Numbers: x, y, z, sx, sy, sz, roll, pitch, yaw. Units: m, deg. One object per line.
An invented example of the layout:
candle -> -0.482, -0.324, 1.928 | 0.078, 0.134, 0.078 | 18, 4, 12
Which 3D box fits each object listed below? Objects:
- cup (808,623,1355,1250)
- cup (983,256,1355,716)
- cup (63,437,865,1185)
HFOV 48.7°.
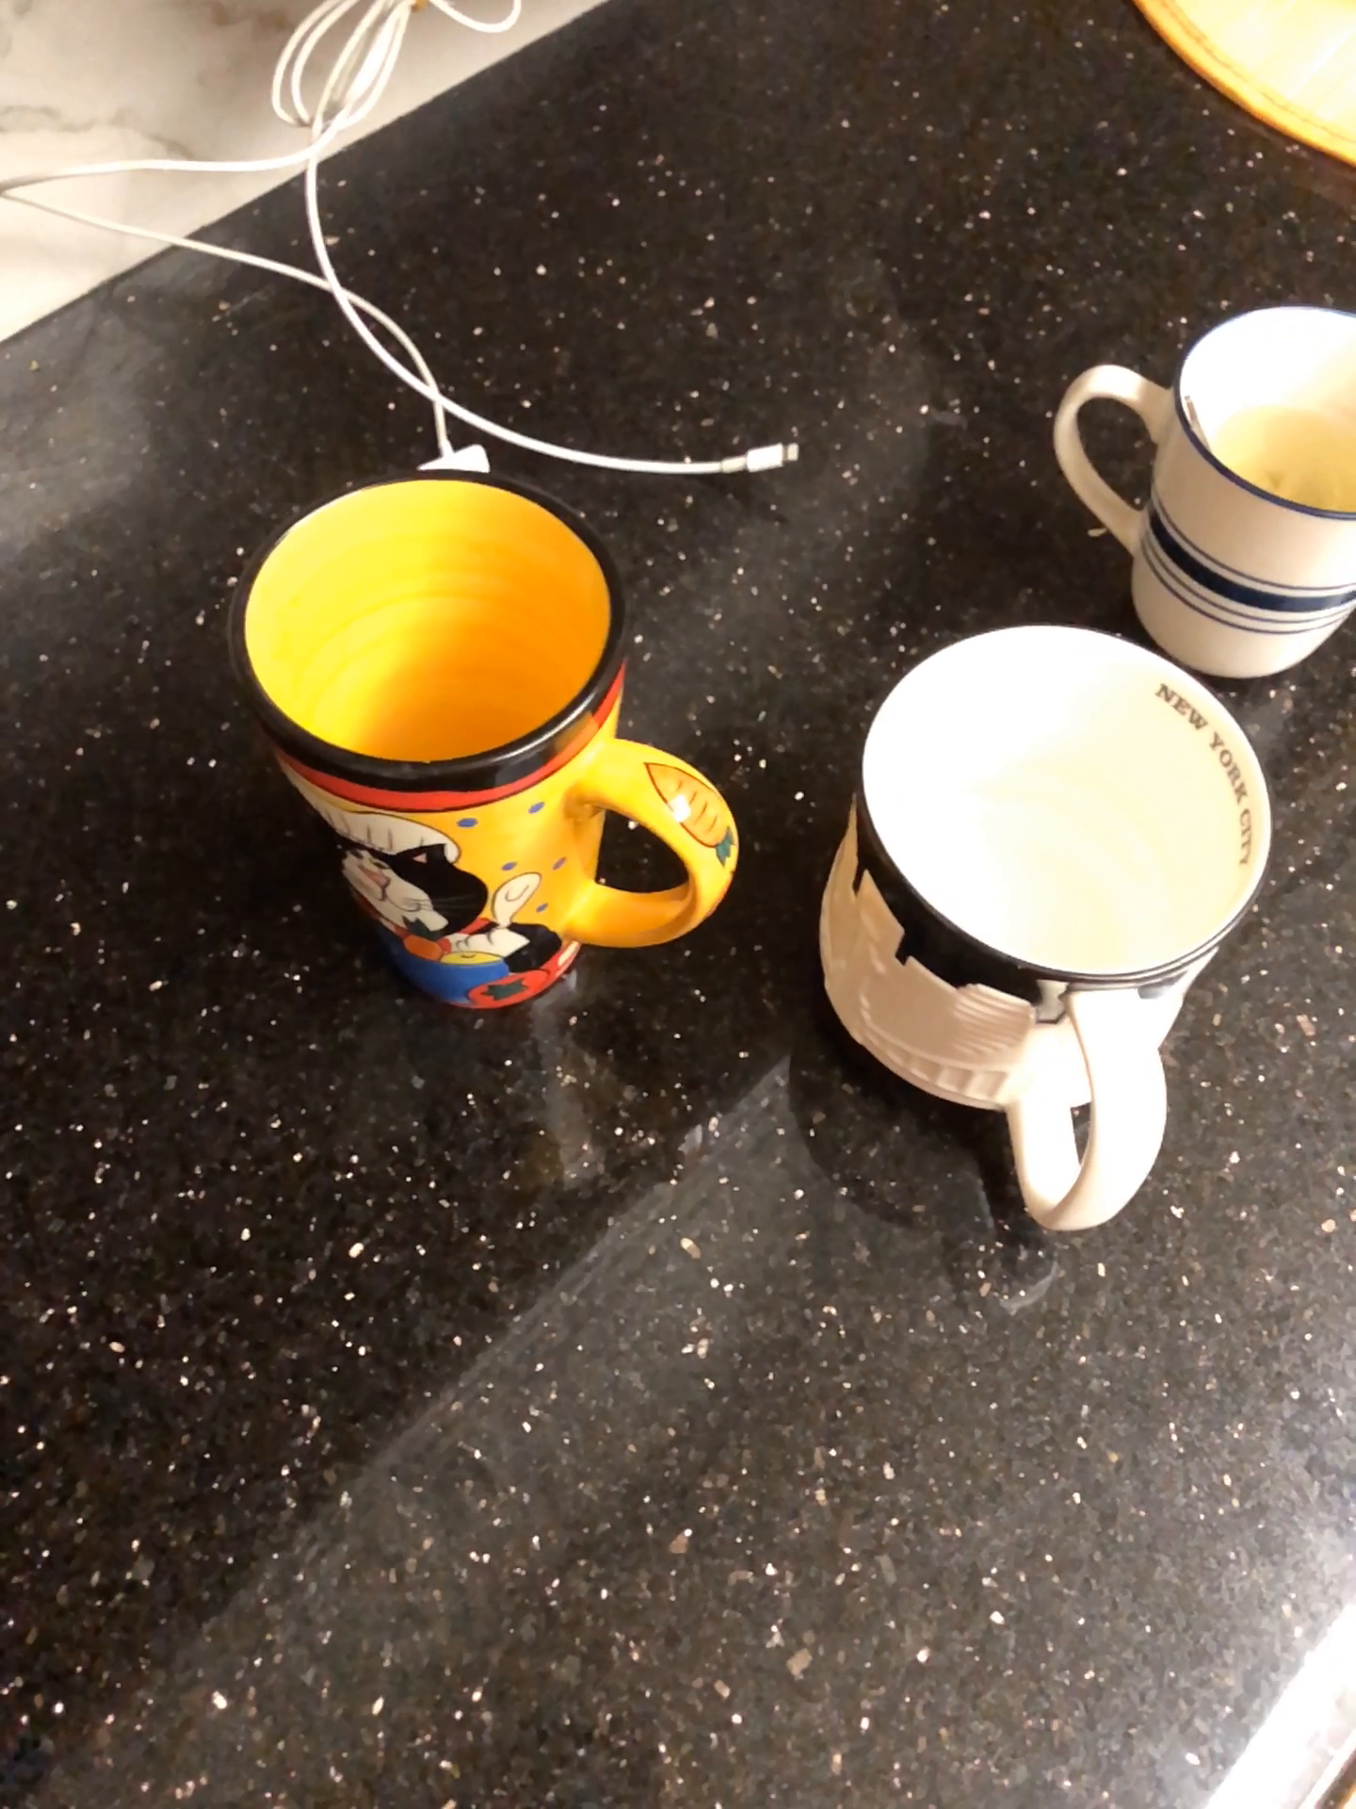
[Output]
cup -> 0.096, 0.008, 0.386 | 0.110, 0.080, 0.140 | 0, 60, -1
cup -> 0.173, -0.131, 0.467 | 0.120, 0.060, 0.090 | 25, 63, 13
cup -> -0.048, -0.023, 0.381 | 0.150, 0.100, 0.100 | 26, 63, 14
